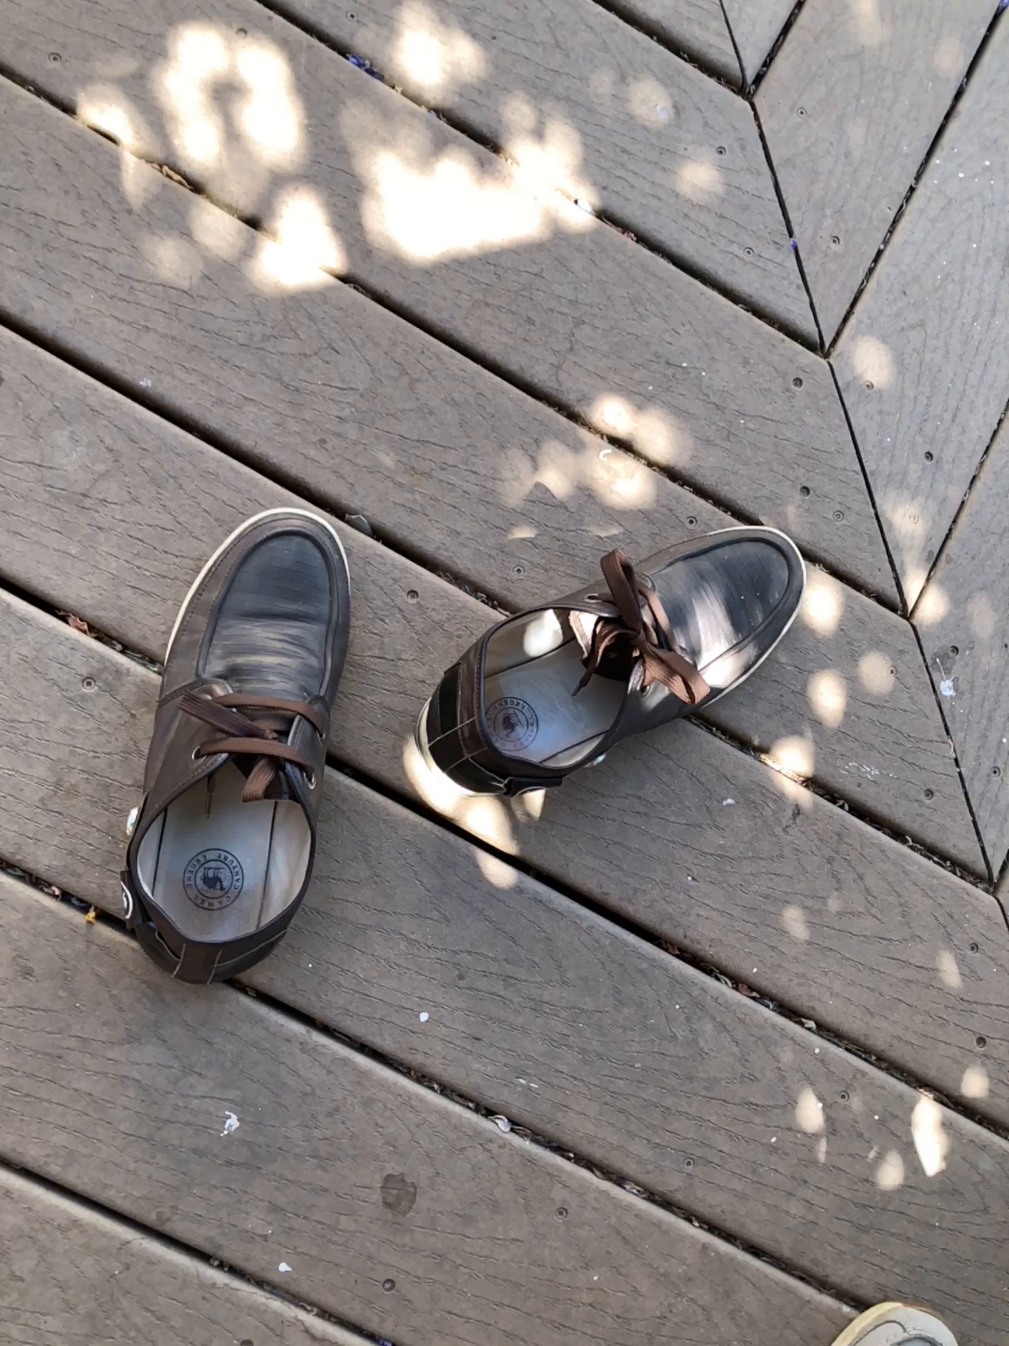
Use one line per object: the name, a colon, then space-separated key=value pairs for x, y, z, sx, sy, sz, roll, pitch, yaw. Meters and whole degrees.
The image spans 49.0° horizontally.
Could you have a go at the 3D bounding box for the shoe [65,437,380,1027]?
shoe: x=-0.157 y=0.036 z=0.648 sx=0.110 sy=0.116 sz=0.302 roll=10 pitch=80 yaw=-11

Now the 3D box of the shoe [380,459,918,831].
shoe: x=0.087 y=-0.015 z=0.707 sx=0.304 sy=0.116 sz=0.110 roll=-24 pitch=88 yaw=-14
